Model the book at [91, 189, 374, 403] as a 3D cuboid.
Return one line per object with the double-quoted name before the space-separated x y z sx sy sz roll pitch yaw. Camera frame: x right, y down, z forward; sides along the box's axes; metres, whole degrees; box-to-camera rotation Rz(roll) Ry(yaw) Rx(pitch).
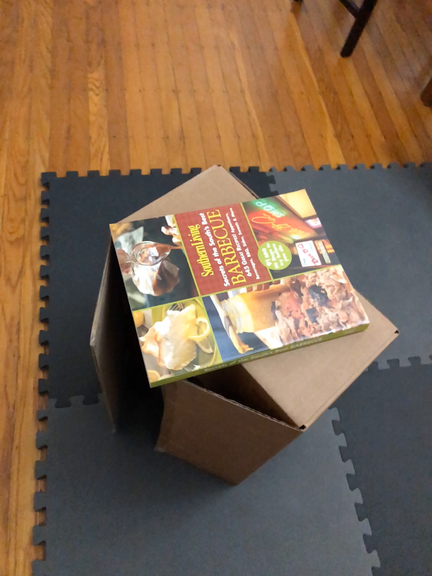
"book" 0.016 -0.007 0.583 0.290 0.020 0.220 -13 64 -16
